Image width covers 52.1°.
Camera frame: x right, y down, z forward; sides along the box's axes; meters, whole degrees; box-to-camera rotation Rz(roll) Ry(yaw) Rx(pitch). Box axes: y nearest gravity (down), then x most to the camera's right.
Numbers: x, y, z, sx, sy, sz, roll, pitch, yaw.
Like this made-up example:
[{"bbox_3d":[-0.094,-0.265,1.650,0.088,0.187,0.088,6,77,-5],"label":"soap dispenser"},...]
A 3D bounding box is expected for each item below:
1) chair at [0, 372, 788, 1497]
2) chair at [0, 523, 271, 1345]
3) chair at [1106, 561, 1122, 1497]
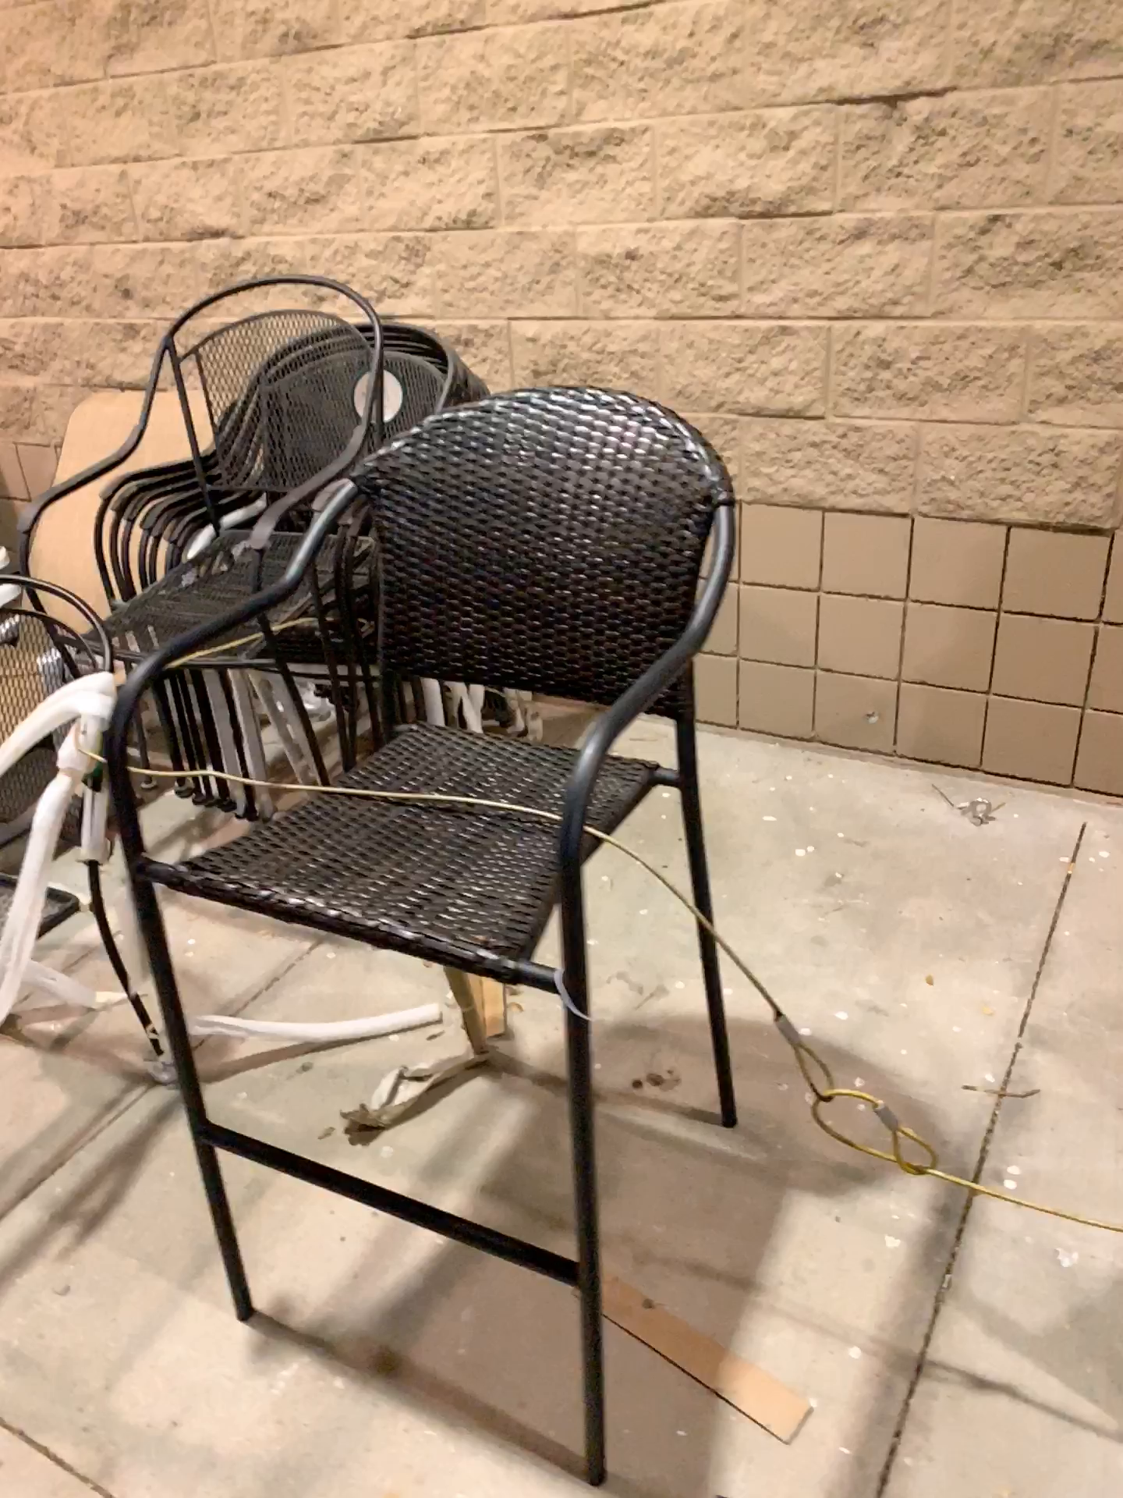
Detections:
[{"bbox_3d":[-0.101,0.179,1.379,0.558,1.101,0.609,10,31,25],"label":"chair"},{"bbox_3d":[-0.899,0.198,1.597,0.578,0.833,0.609,8,30,23],"label":"chair"},{"bbox_3d":[0.995,0.352,1.116,0.569,0.833,0.628,19,35,38],"label":"chair"}]
